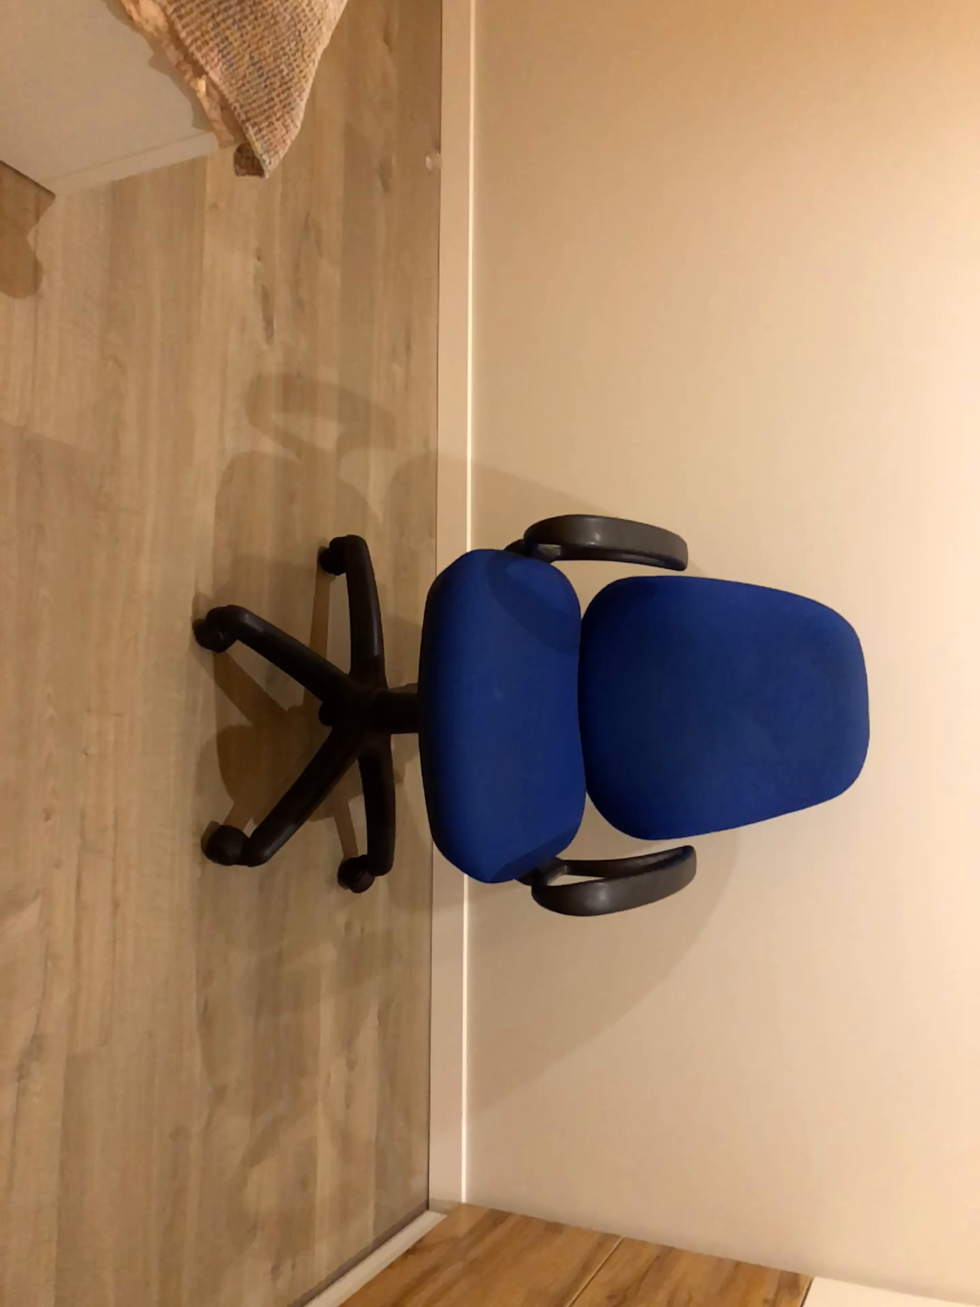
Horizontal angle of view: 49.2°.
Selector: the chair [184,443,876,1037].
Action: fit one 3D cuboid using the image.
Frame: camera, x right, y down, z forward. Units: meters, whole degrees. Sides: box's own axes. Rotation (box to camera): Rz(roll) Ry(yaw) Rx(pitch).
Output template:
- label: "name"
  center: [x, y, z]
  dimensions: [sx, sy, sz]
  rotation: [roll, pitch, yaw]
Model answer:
- label: "chair"
  center: [0.107, 0.109, 1.762]
  dimensions: [0.704, 0.905, 0.696]
  rotation: [-3, 91, -65]
